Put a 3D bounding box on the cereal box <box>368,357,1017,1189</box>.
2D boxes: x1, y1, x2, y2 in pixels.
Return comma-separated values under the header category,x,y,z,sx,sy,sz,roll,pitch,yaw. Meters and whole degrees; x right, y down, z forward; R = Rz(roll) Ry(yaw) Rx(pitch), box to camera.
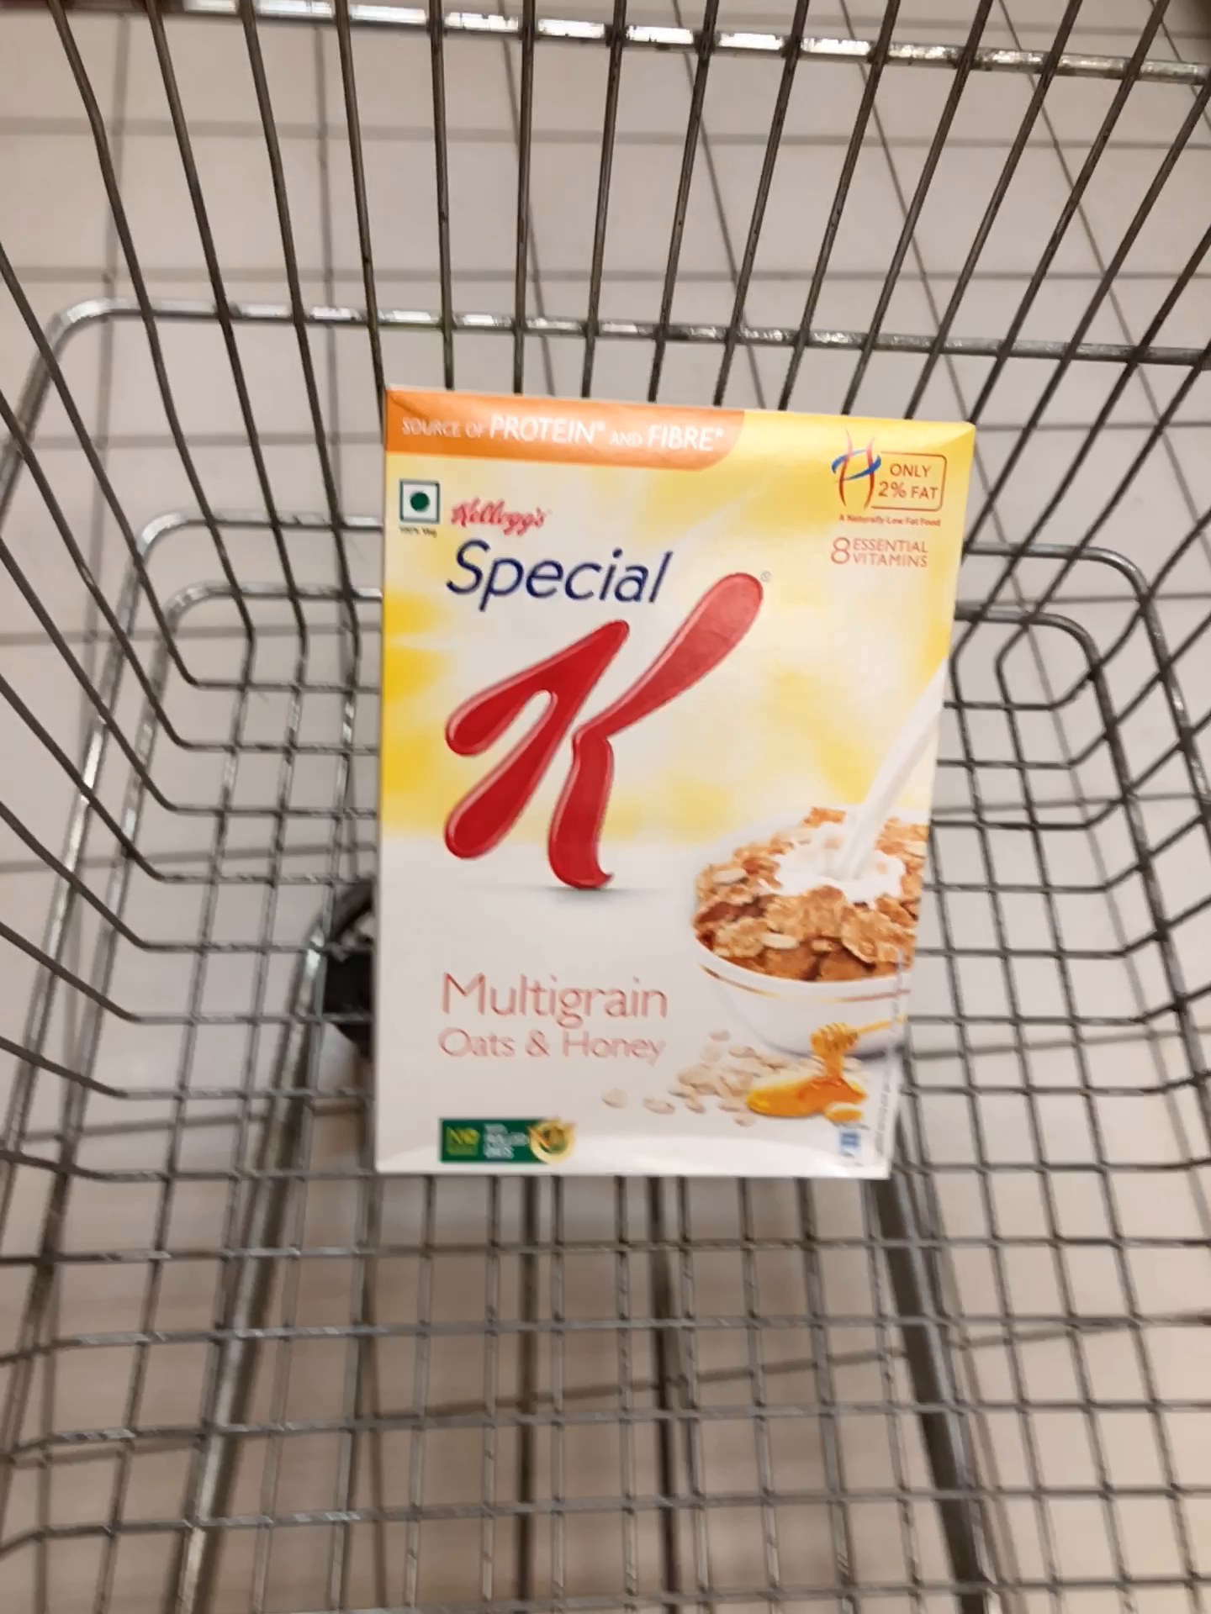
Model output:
category,x,y,z,sx,sy,sz,roll,pitch,yaw
cereal box,0.018,-0.009,0.477,0.190,0.090,0.269,2,105,-7
